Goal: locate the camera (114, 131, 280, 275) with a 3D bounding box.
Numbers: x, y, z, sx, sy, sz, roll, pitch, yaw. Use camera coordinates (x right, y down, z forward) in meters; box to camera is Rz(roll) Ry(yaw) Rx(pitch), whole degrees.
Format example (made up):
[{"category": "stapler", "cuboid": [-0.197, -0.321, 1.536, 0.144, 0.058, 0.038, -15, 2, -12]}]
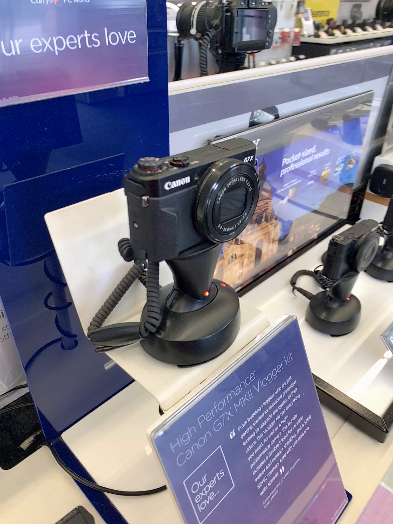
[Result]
[{"category": "camera", "cuboid": [0.004, -0.045, 0.273, 0.109, 0.059, 0.038, -26, 40, -35]}]
